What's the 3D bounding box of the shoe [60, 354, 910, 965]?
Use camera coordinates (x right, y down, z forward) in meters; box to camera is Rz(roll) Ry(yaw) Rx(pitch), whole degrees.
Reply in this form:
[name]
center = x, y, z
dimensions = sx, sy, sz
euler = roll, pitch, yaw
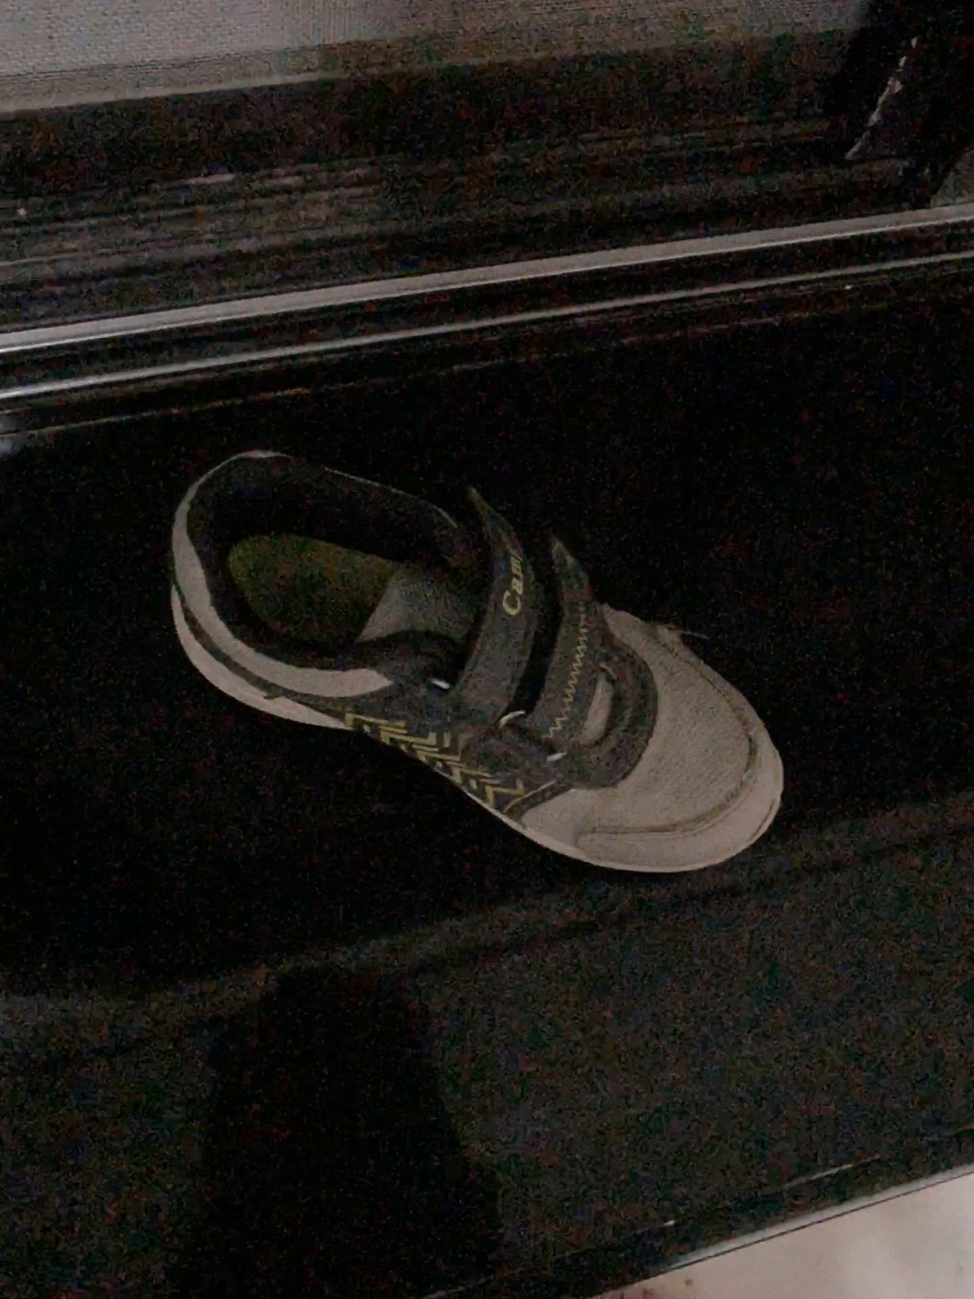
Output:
[shoe]
center = -0.001, 0.008, 0.328
dimensions = 0.230, 0.080, 0.090
euler = 25, 70, 3
